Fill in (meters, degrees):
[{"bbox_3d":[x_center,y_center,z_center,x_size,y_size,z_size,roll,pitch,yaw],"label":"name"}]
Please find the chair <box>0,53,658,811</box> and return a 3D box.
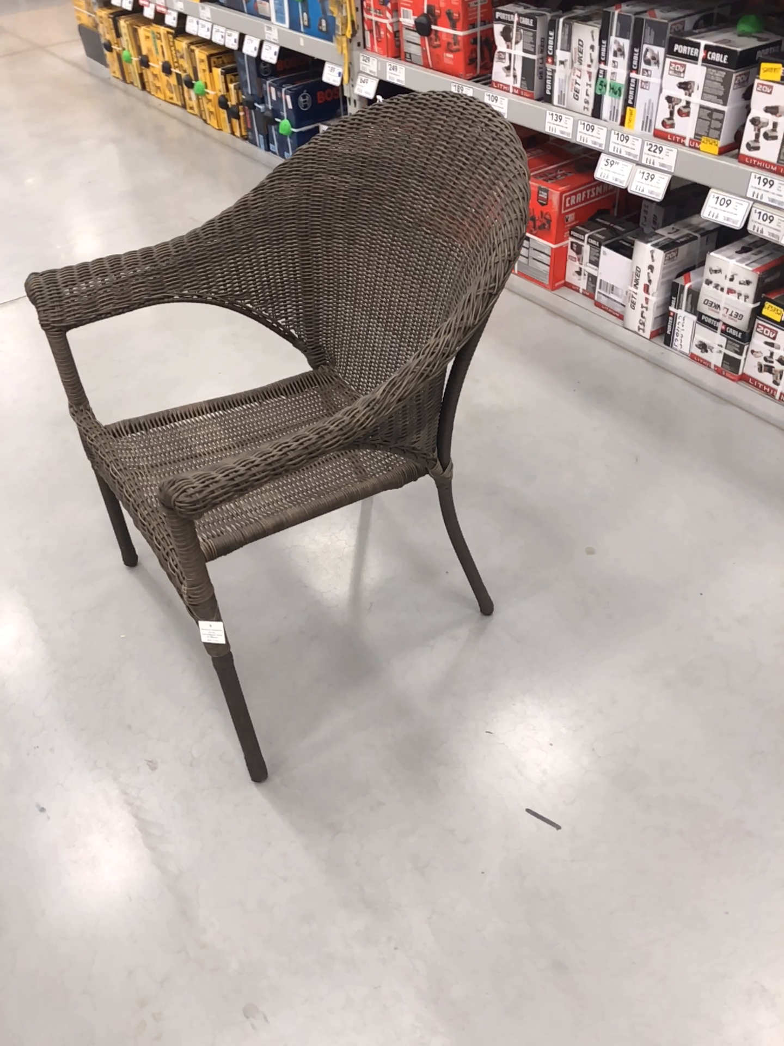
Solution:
[{"bbox_3d":[-0.157,-0.204,1.426,0.760,0.797,0.723,-25,45,-22],"label":"chair"}]
